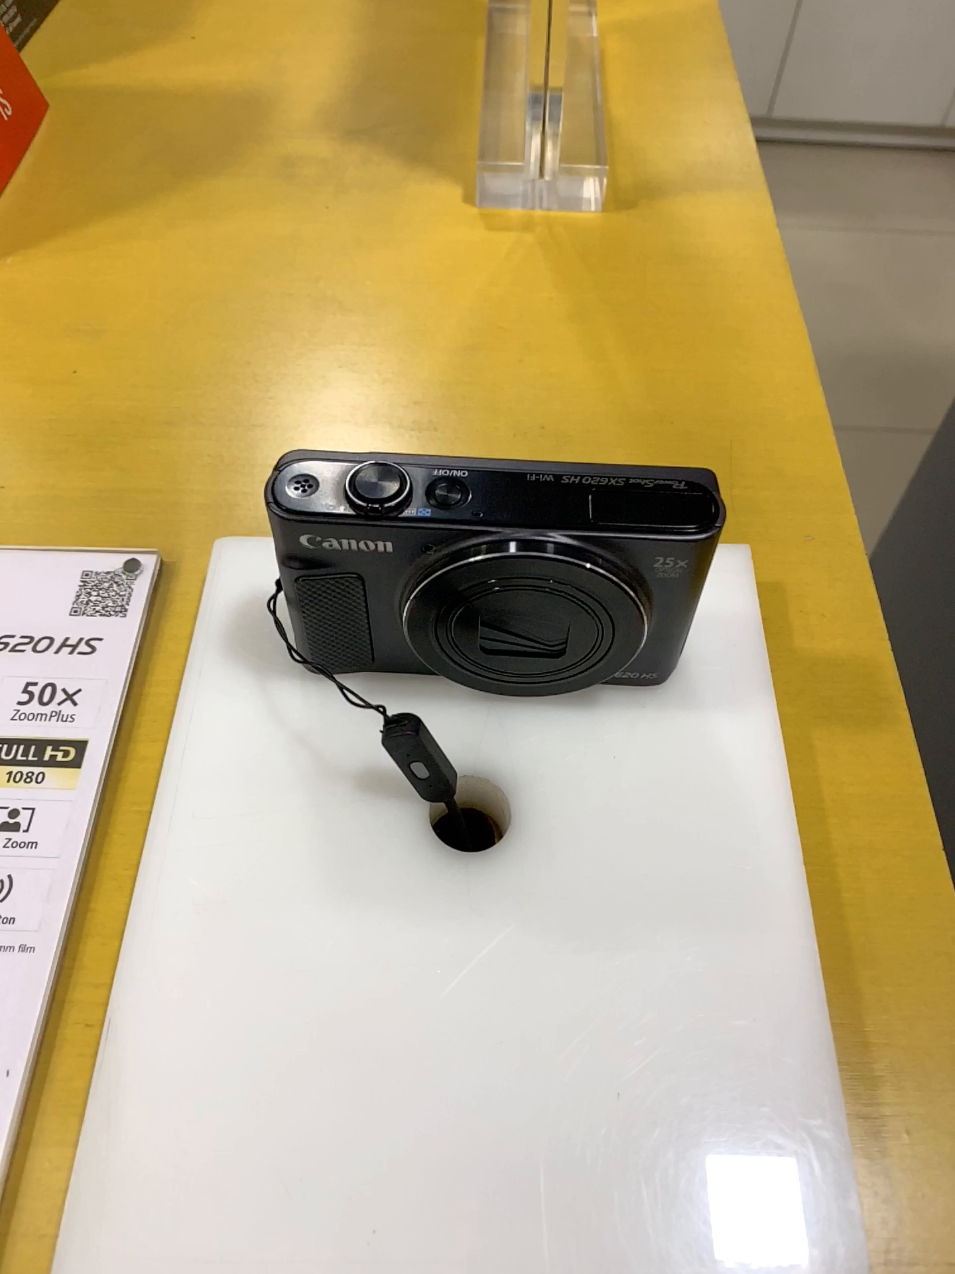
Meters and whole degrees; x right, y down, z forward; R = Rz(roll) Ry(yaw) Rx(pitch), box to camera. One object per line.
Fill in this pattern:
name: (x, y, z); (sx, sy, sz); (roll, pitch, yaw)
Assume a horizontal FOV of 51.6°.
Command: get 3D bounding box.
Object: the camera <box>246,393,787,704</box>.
camera: (0.007, -0.017, 0.216); (0.100, 0.060, 0.030); (4, 55, 1)
